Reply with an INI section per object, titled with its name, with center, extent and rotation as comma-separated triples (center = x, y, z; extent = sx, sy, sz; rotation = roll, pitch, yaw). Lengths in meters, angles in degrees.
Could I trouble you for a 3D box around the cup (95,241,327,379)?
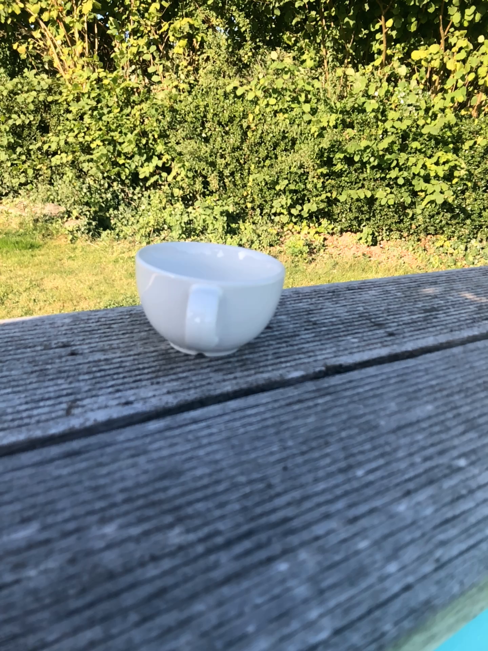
[cup]
center = -0.017, -0.015, 0.302
extent = 0.104, 0.038, 0.121
rotation = 4, 18, -2
